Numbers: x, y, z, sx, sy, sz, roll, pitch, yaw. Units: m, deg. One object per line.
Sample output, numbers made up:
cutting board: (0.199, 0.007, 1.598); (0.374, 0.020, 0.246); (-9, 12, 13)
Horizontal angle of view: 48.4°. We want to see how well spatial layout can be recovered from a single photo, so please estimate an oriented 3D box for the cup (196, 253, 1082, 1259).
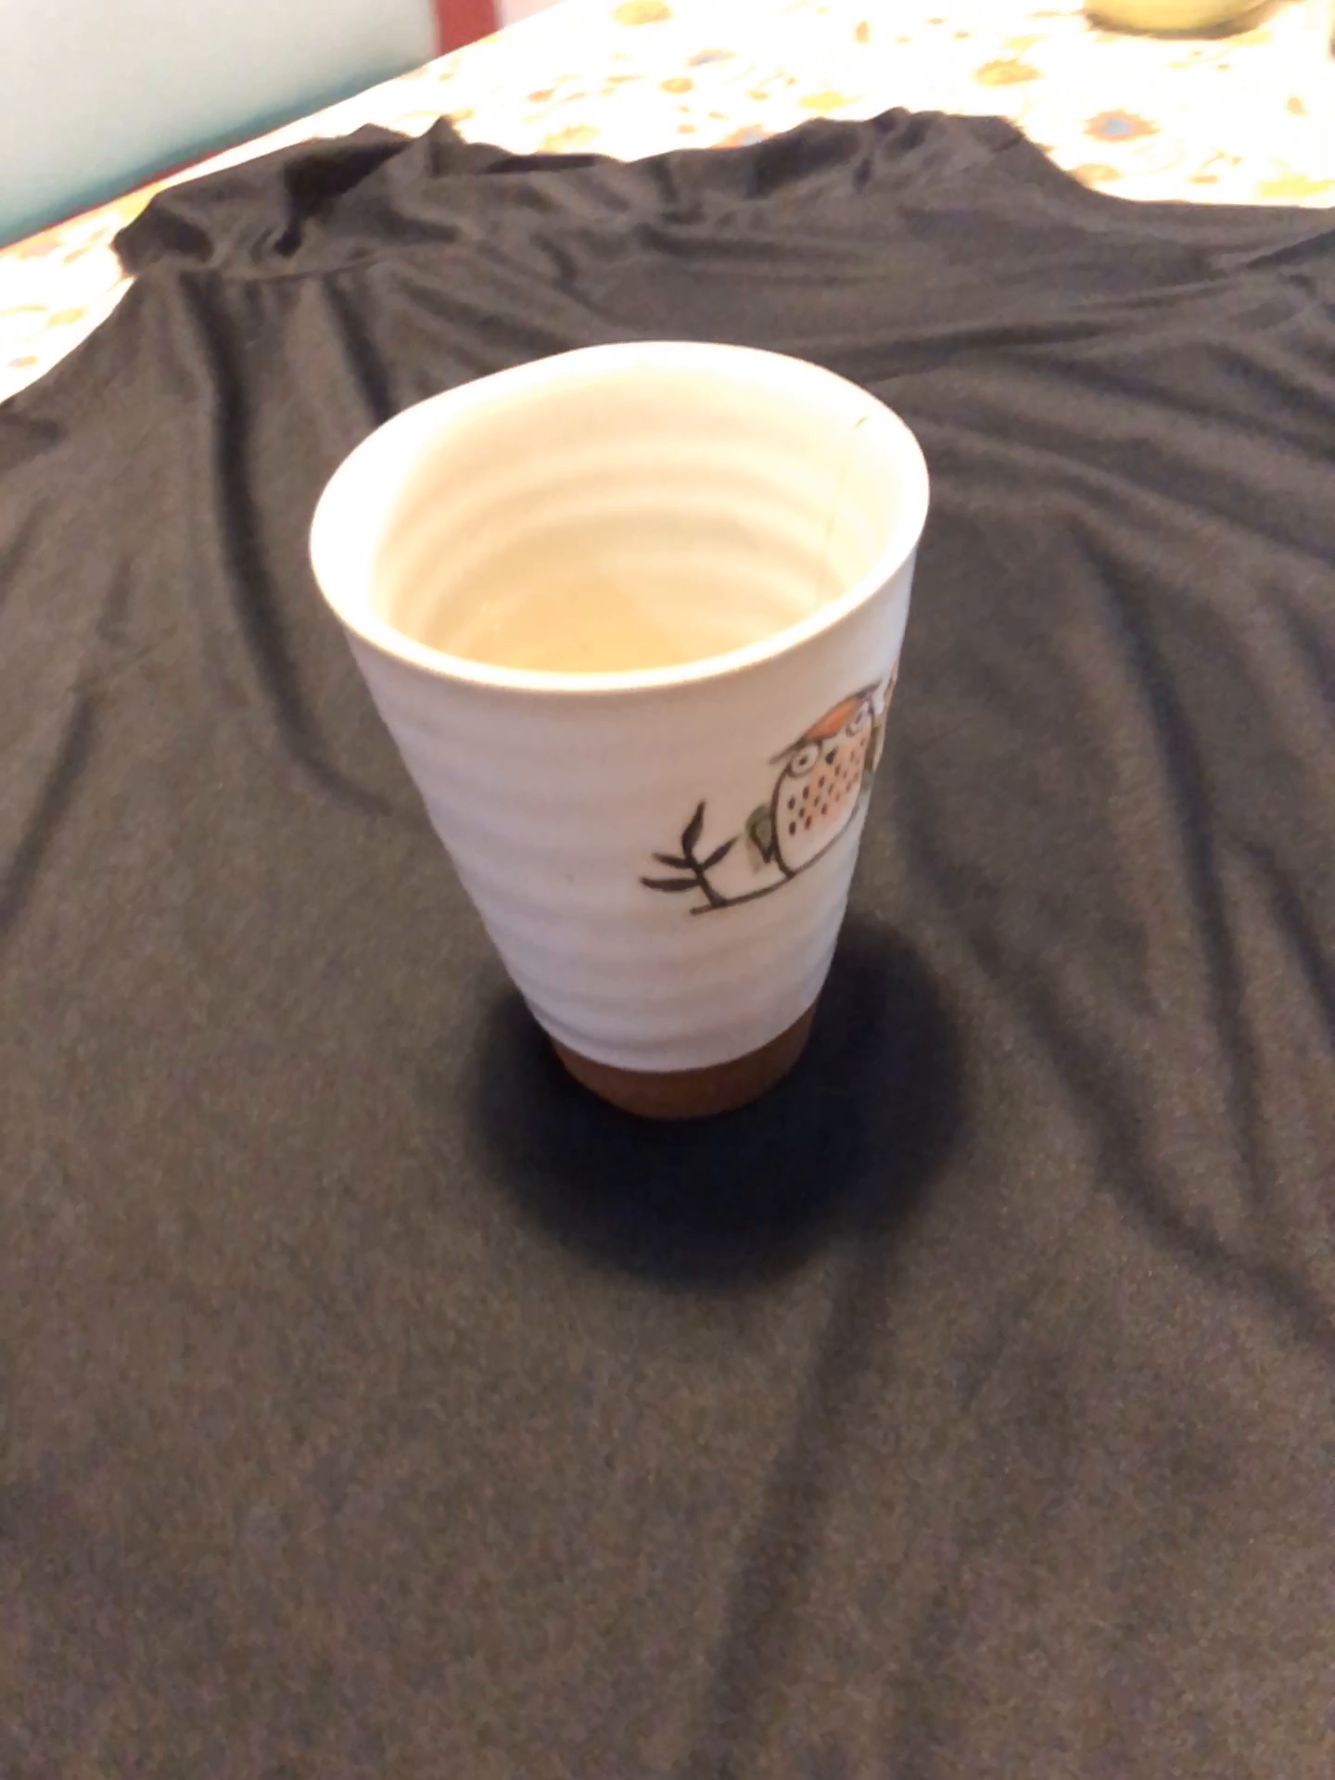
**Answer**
cup: (-0.004, -0.022, 0.229); (0.080, 0.099, 0.090); (-28, 50, -19)
